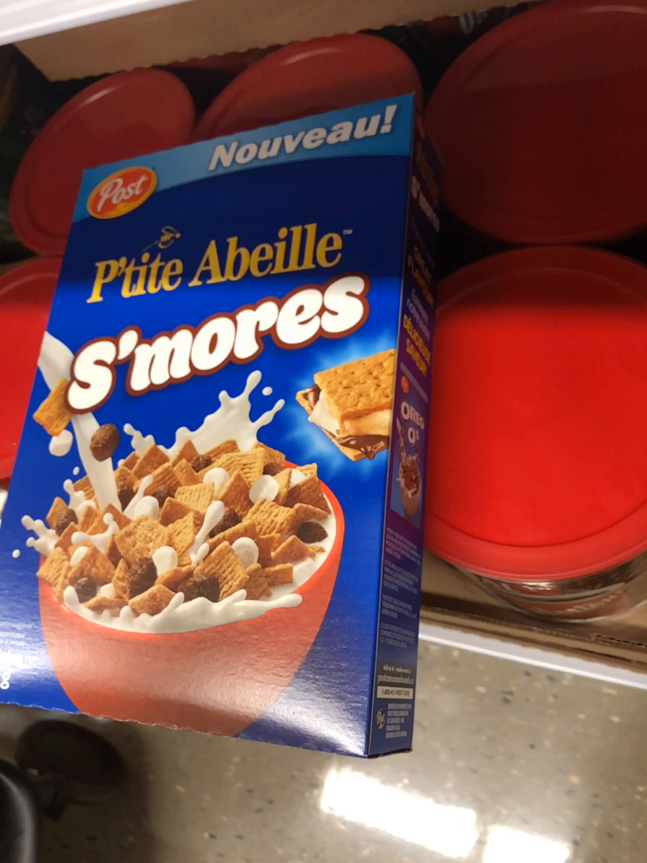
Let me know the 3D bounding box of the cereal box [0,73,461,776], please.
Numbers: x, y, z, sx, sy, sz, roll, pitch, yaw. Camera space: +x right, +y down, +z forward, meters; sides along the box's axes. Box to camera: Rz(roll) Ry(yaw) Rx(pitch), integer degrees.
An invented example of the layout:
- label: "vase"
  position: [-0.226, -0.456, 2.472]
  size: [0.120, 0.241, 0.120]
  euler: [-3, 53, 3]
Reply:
- label: "cereal box"
  position: [-0.046, -0.011, 0.350]
  size: [0.200, 0.060, 0.290]
  euler: [-2, 70, 25]
